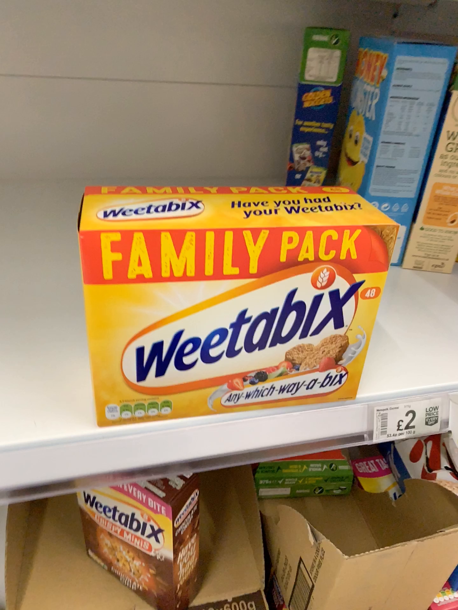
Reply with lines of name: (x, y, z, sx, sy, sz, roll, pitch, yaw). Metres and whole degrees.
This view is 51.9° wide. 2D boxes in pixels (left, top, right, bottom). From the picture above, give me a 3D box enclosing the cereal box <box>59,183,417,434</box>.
cereal box: (0.001, -0.001, 0.419, 0.260, 0.188, 0.091, -3, 32, -12)
